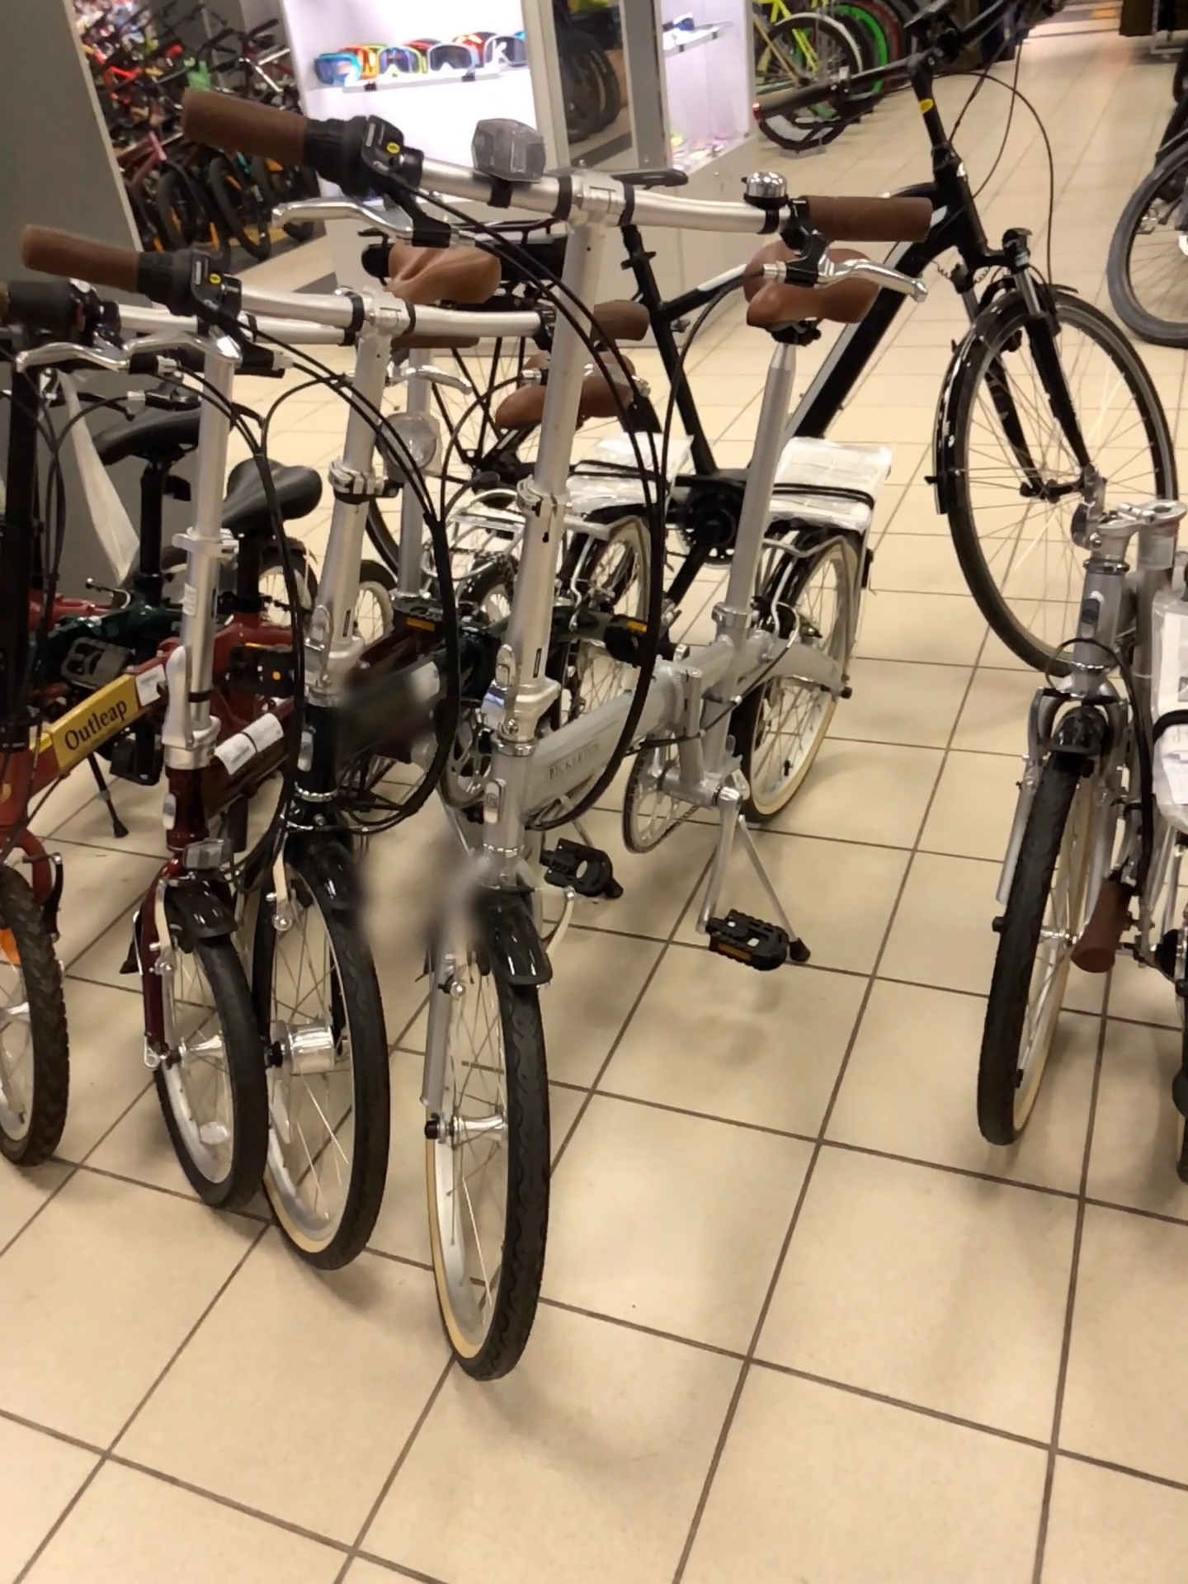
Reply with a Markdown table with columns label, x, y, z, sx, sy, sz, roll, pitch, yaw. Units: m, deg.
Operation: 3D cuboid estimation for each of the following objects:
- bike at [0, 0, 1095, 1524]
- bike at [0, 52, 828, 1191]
| label | x | y | z | sx | sy | sz | roll | pitch | yaw |
| --- | --- | --- | --- | --- | --- | --- | --- | --- | --- |
| bike | 0.158 | -0.227 | 1.463 | 0.553 | 1.153 | 1.365 | 7 | 34 | 23 |
| bike | -0.095 | -0.299 | 1.763 | 0.556 | 1.036 | 1.145 | 5 | 35 | 20 |
